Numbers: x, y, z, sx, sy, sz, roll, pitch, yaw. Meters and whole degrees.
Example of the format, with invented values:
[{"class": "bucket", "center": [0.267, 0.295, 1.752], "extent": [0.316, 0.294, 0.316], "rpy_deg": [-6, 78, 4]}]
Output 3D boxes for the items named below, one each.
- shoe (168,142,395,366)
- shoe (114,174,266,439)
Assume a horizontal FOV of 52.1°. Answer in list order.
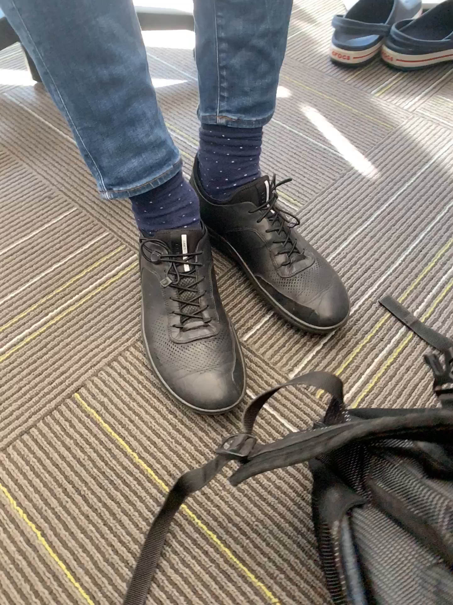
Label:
[{"class": "shoe", "center": [0.056, -0.078, 0.628], "extent": [0.110, 0.100, 0.311], "rpy_deg": [-31, 60, -22]}, {"class": "shoe", "center": [-0.056, -0.012, 0.566], "extent": [0.110, 0.100, 0.311], "rpy_deg": [-11, 55, -10]}]
